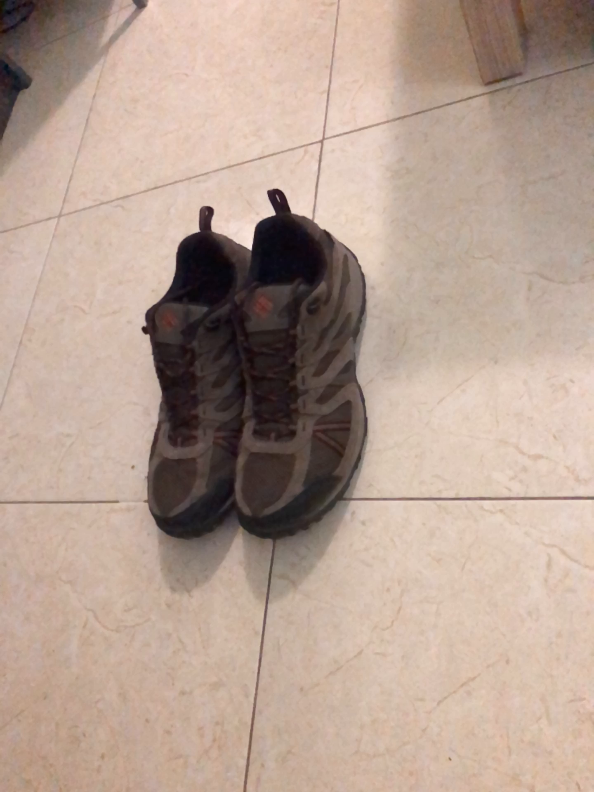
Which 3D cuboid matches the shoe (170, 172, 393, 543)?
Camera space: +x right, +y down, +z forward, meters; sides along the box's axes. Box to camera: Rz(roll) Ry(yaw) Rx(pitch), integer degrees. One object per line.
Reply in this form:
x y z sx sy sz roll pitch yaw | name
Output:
-0.002 -0.034 0.615 0.120 0.120 0.310 -3 66 28 | shoe

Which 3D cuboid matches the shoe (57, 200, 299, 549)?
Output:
-0.105 -0.021 0.649 0.130 0.110 0.310 -2 66 29 | shoe
